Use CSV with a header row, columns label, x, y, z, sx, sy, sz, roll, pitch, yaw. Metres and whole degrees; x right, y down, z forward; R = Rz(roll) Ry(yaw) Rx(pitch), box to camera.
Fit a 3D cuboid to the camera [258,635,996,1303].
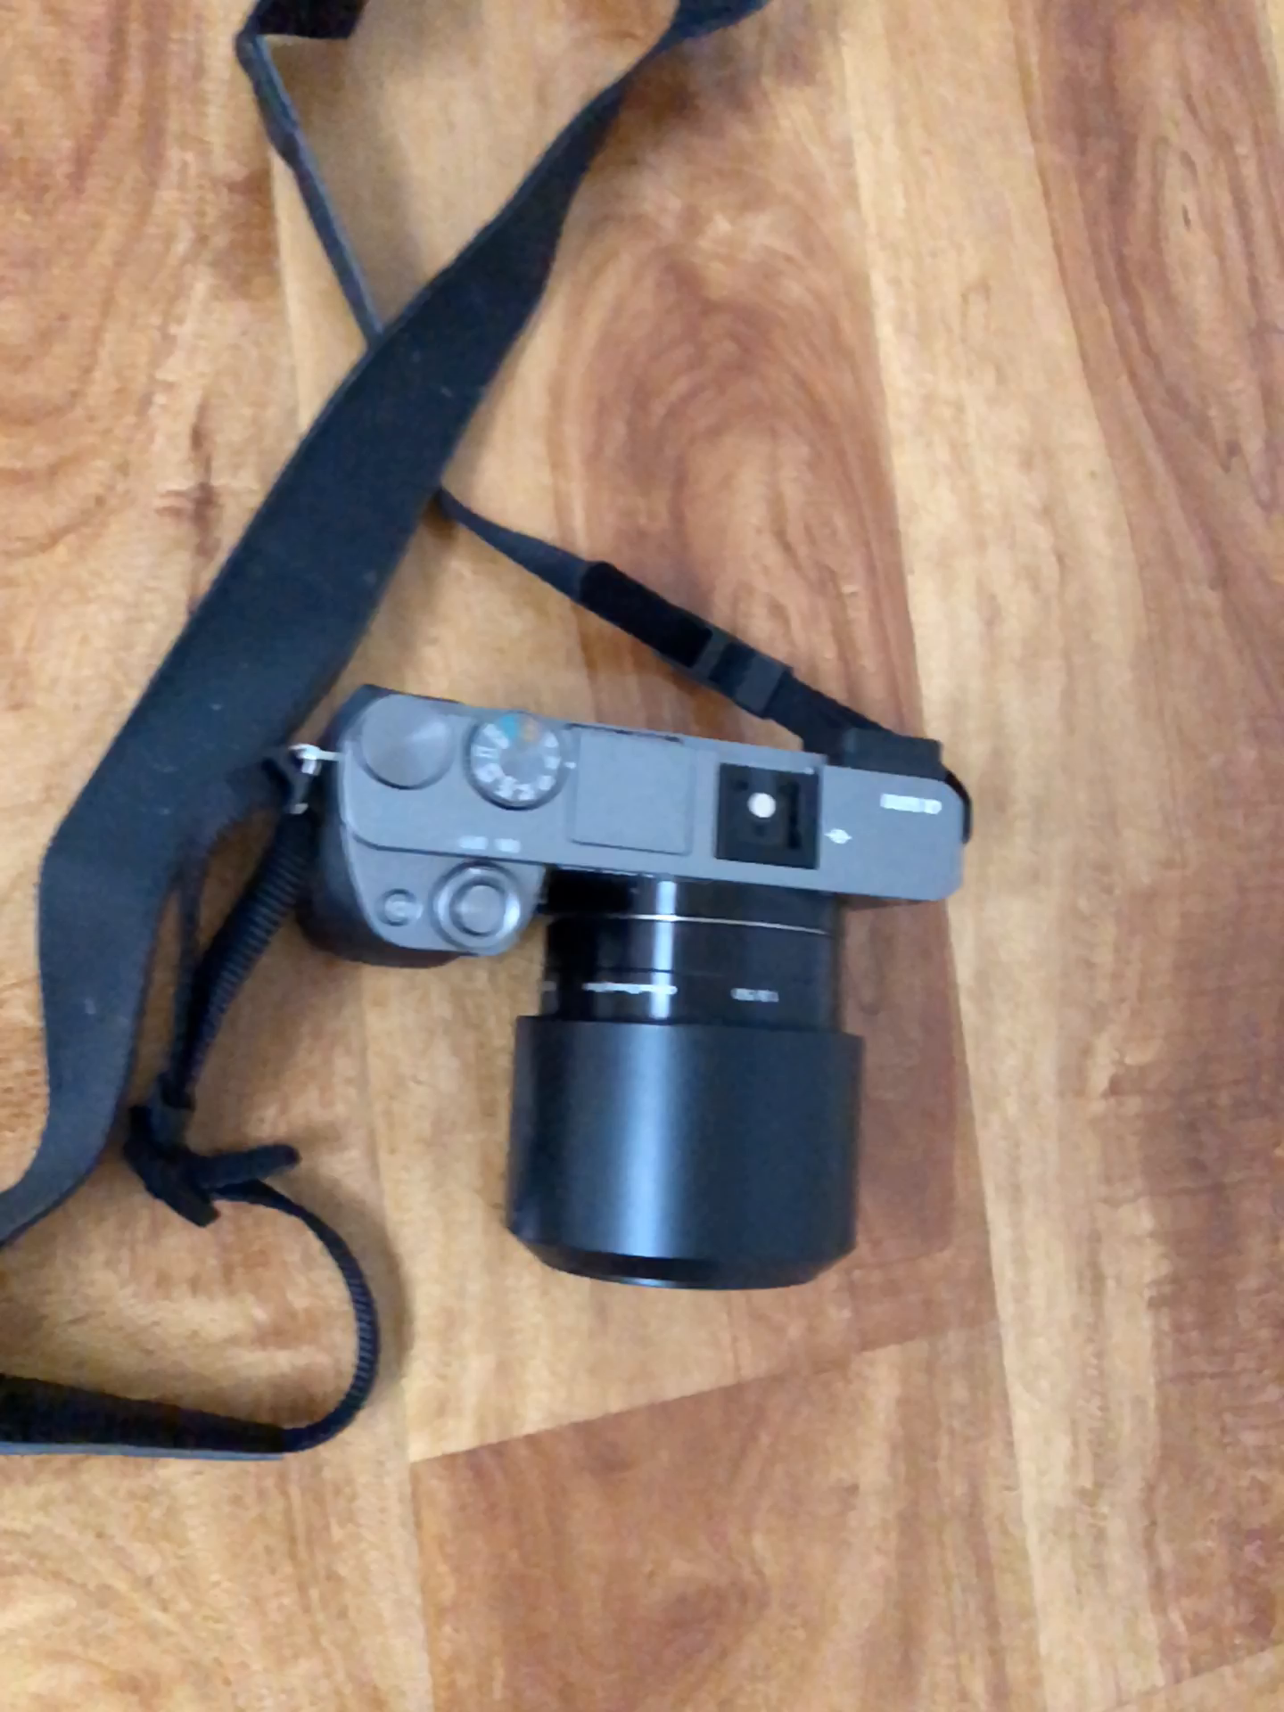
label,x,y,z,sx,sy,sz,roll,pitch,yaw
camera,-0.004,0.026,0.291,0.130,0.070,0.110,5,83,-21
